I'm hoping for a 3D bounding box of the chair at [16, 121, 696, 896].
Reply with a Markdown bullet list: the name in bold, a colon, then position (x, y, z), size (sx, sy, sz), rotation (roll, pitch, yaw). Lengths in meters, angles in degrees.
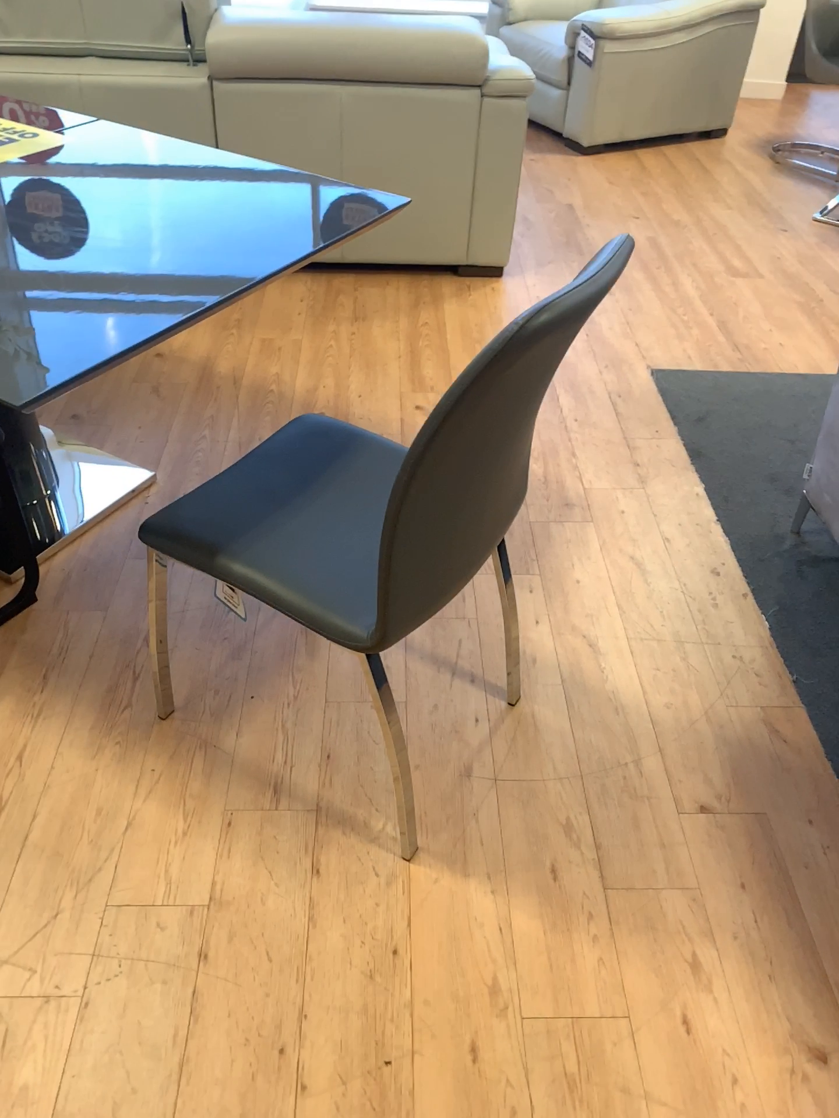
- **chair**: position (-0.080, -0.072, 1.298), size (0.642, 0.892, 0.483), rotation (24, 45, 22)
